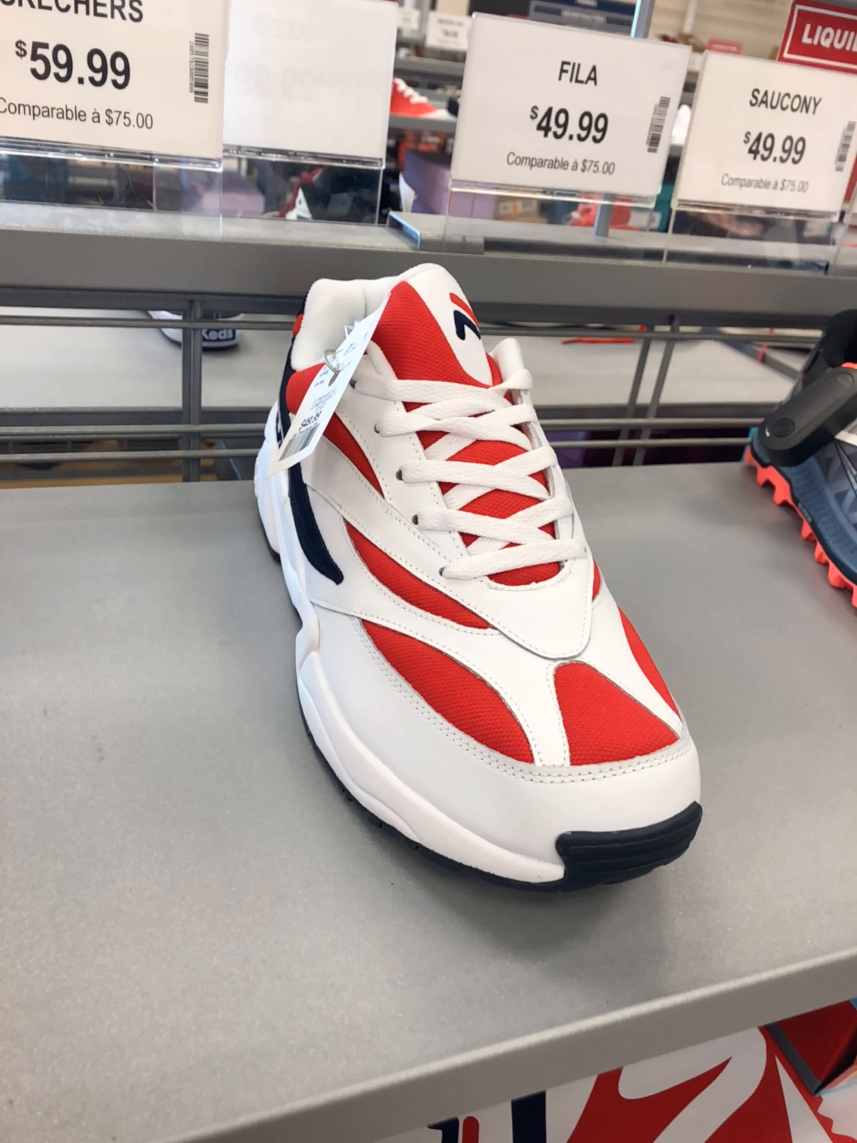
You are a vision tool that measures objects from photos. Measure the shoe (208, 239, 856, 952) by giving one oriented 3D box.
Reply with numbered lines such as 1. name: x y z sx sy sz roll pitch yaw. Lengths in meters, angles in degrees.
1. shoe: 0.000 -0.023 0.363 0.120 0.129 0.272 -4 33 -22
